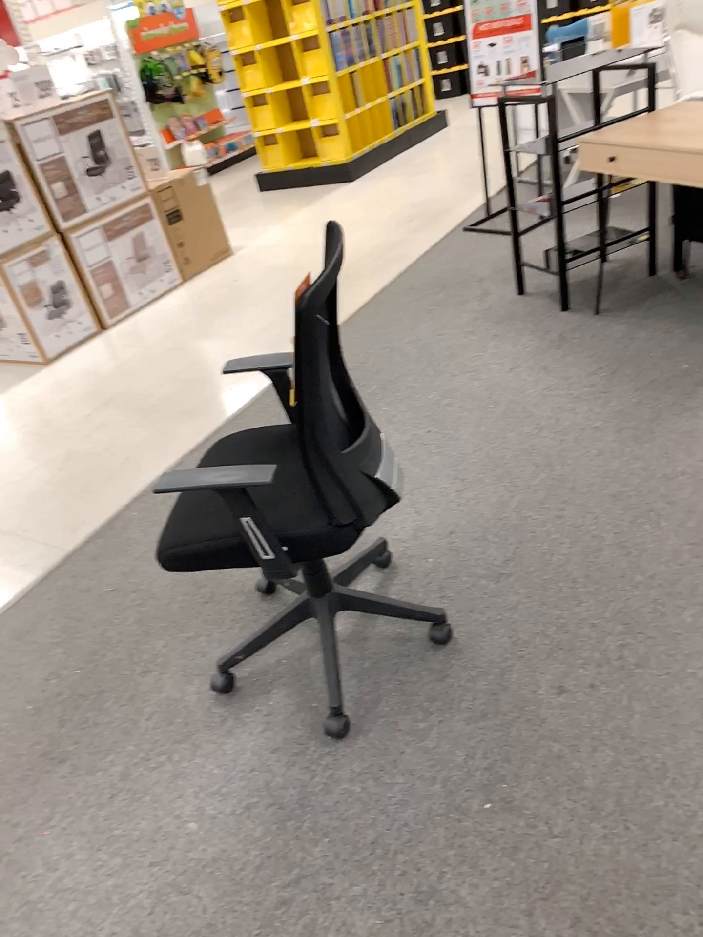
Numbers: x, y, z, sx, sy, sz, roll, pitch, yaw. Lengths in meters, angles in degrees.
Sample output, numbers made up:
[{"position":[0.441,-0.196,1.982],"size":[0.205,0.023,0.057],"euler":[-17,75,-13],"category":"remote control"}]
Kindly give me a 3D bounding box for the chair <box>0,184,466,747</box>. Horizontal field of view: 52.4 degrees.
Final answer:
[{"position":[-0.154,0.013,1.616],"size":[0.641,0.995,0.673],"euler":[-4,33,17],"category":"chair"}]
